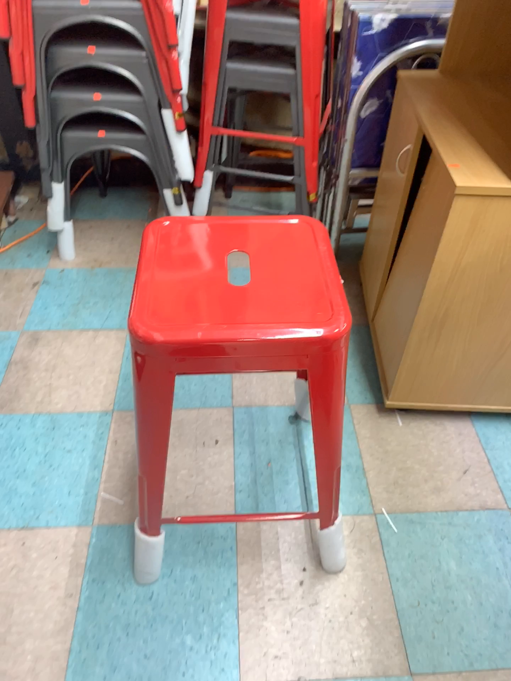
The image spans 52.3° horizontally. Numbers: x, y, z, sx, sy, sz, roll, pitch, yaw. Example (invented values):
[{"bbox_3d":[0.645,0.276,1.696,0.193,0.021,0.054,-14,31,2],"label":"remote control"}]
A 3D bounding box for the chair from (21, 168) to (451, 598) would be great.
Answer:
[{"bbox_3d":[-0.032,0.092,0.895,0.438,0.598,0.436,-2,45,-3],"label":"chair"}]
